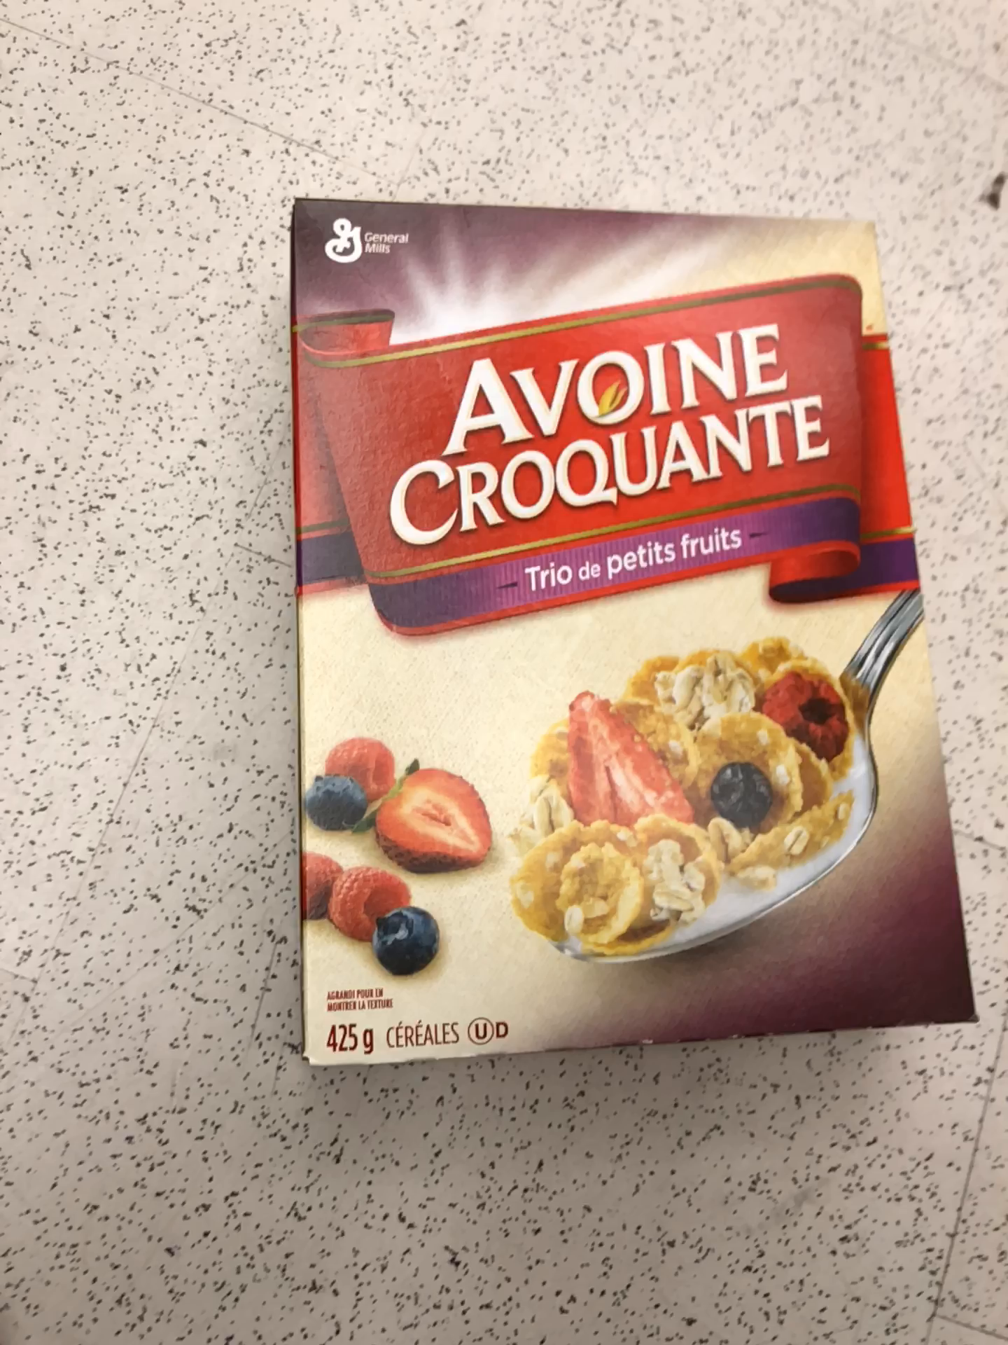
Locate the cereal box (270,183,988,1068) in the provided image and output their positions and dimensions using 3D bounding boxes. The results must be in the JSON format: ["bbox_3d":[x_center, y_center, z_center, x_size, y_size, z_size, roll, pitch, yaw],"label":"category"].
[{"bbox_3d":[0.032,-0.020,0.378,0.210,0.060,0.270,-1,79,-8],"label":"cereal box"}]
